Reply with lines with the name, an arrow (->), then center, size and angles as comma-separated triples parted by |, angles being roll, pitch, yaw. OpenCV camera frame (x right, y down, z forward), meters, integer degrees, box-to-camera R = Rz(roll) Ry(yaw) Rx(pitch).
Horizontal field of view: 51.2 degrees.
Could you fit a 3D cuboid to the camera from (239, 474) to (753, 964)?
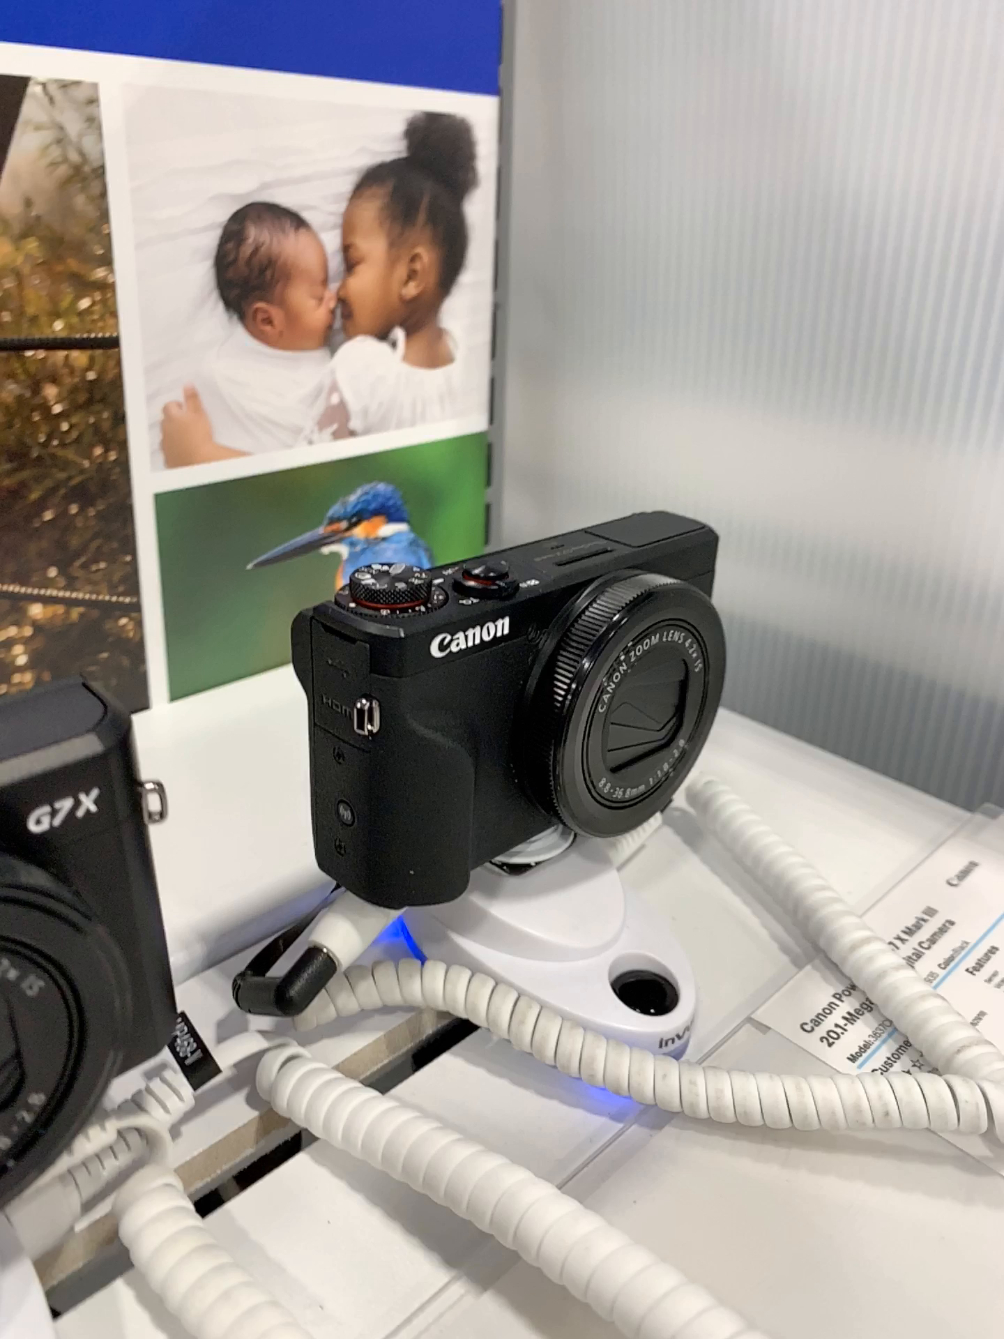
camera -> 0.003, 0.003, 0.235 | 0.110, 0.070, 0.040 | -20, 33, -39
